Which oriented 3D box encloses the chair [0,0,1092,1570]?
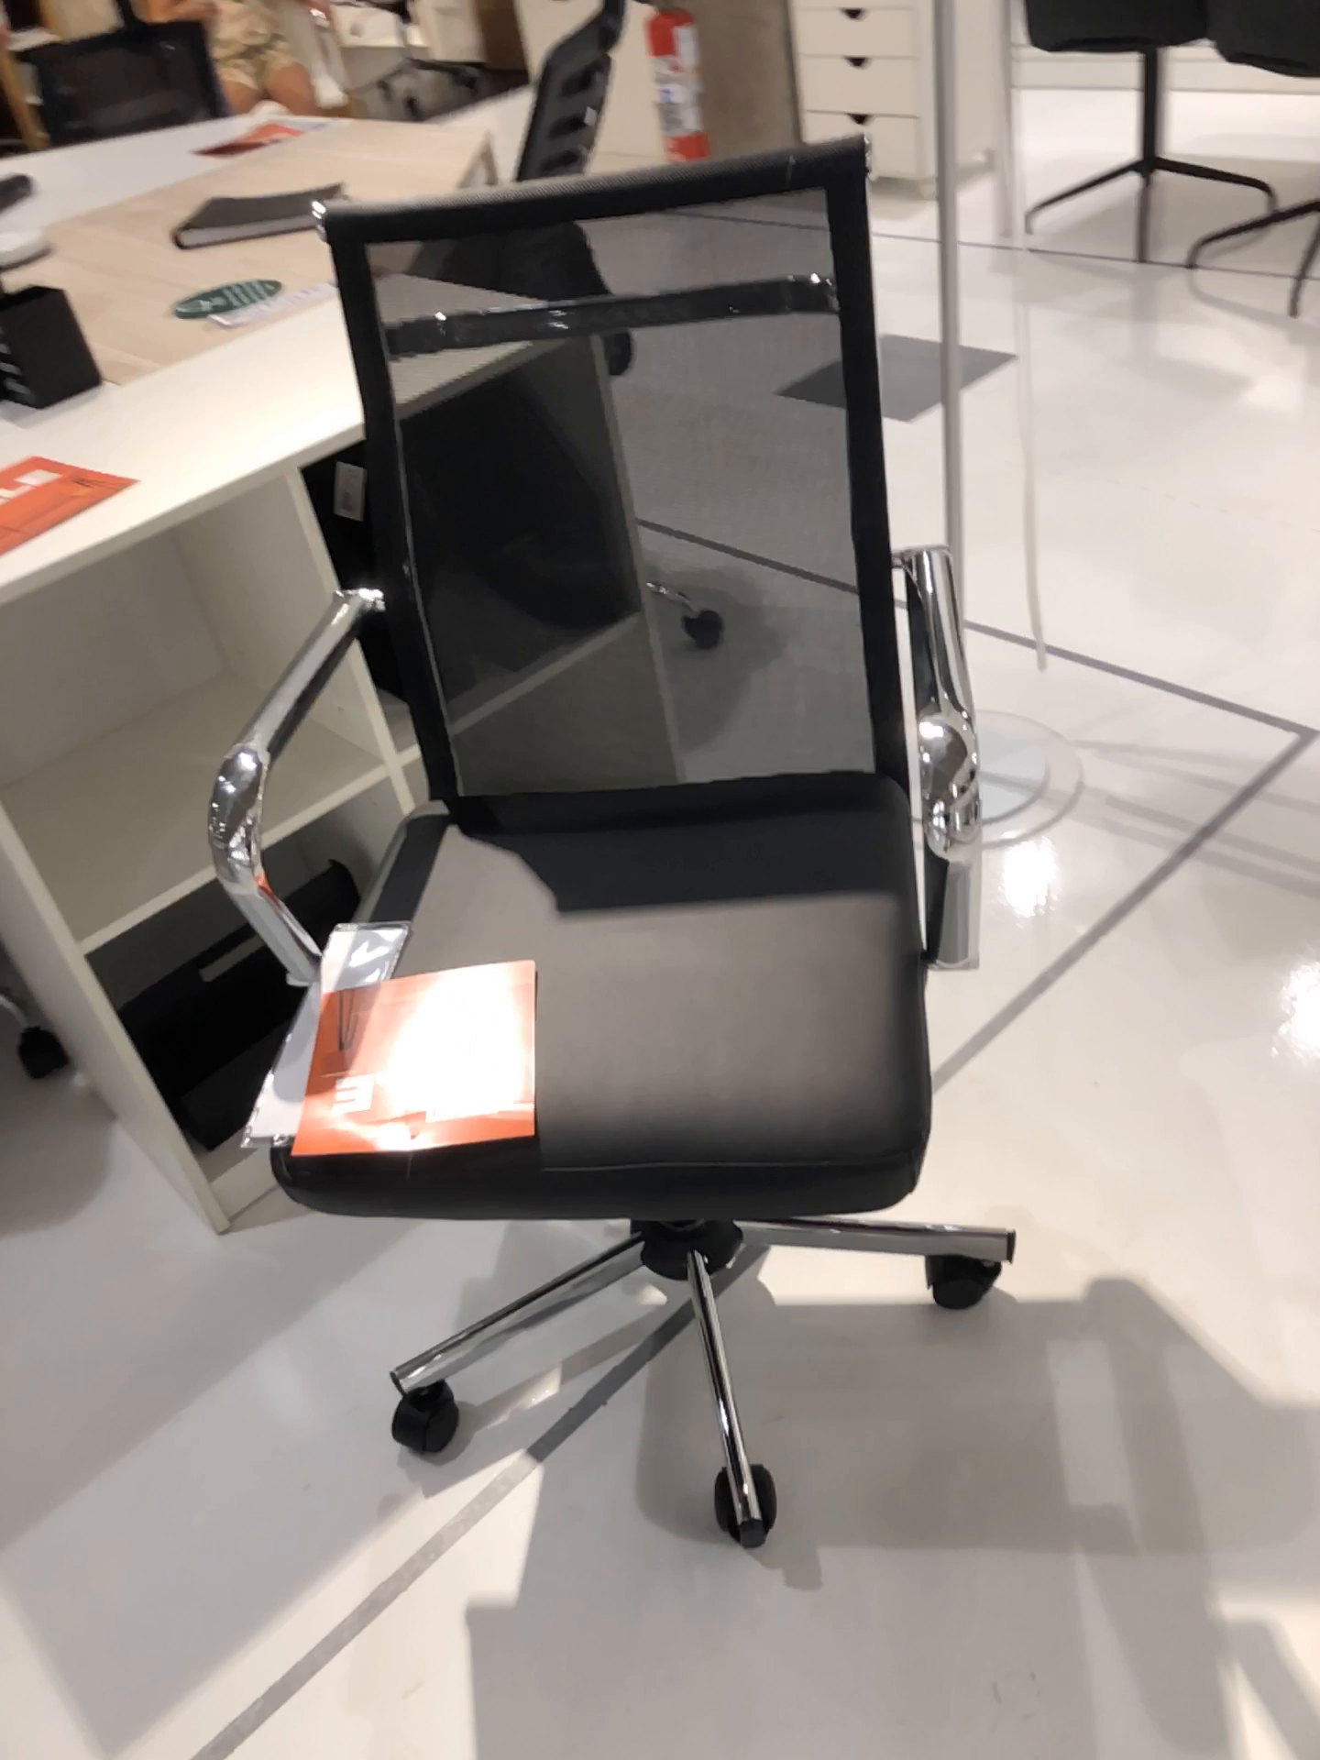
[{"bbox_3d":[-0.029,-0.020,1.125,0.610,0.992,0.625,-4,38,10],"label":"chair"}]
